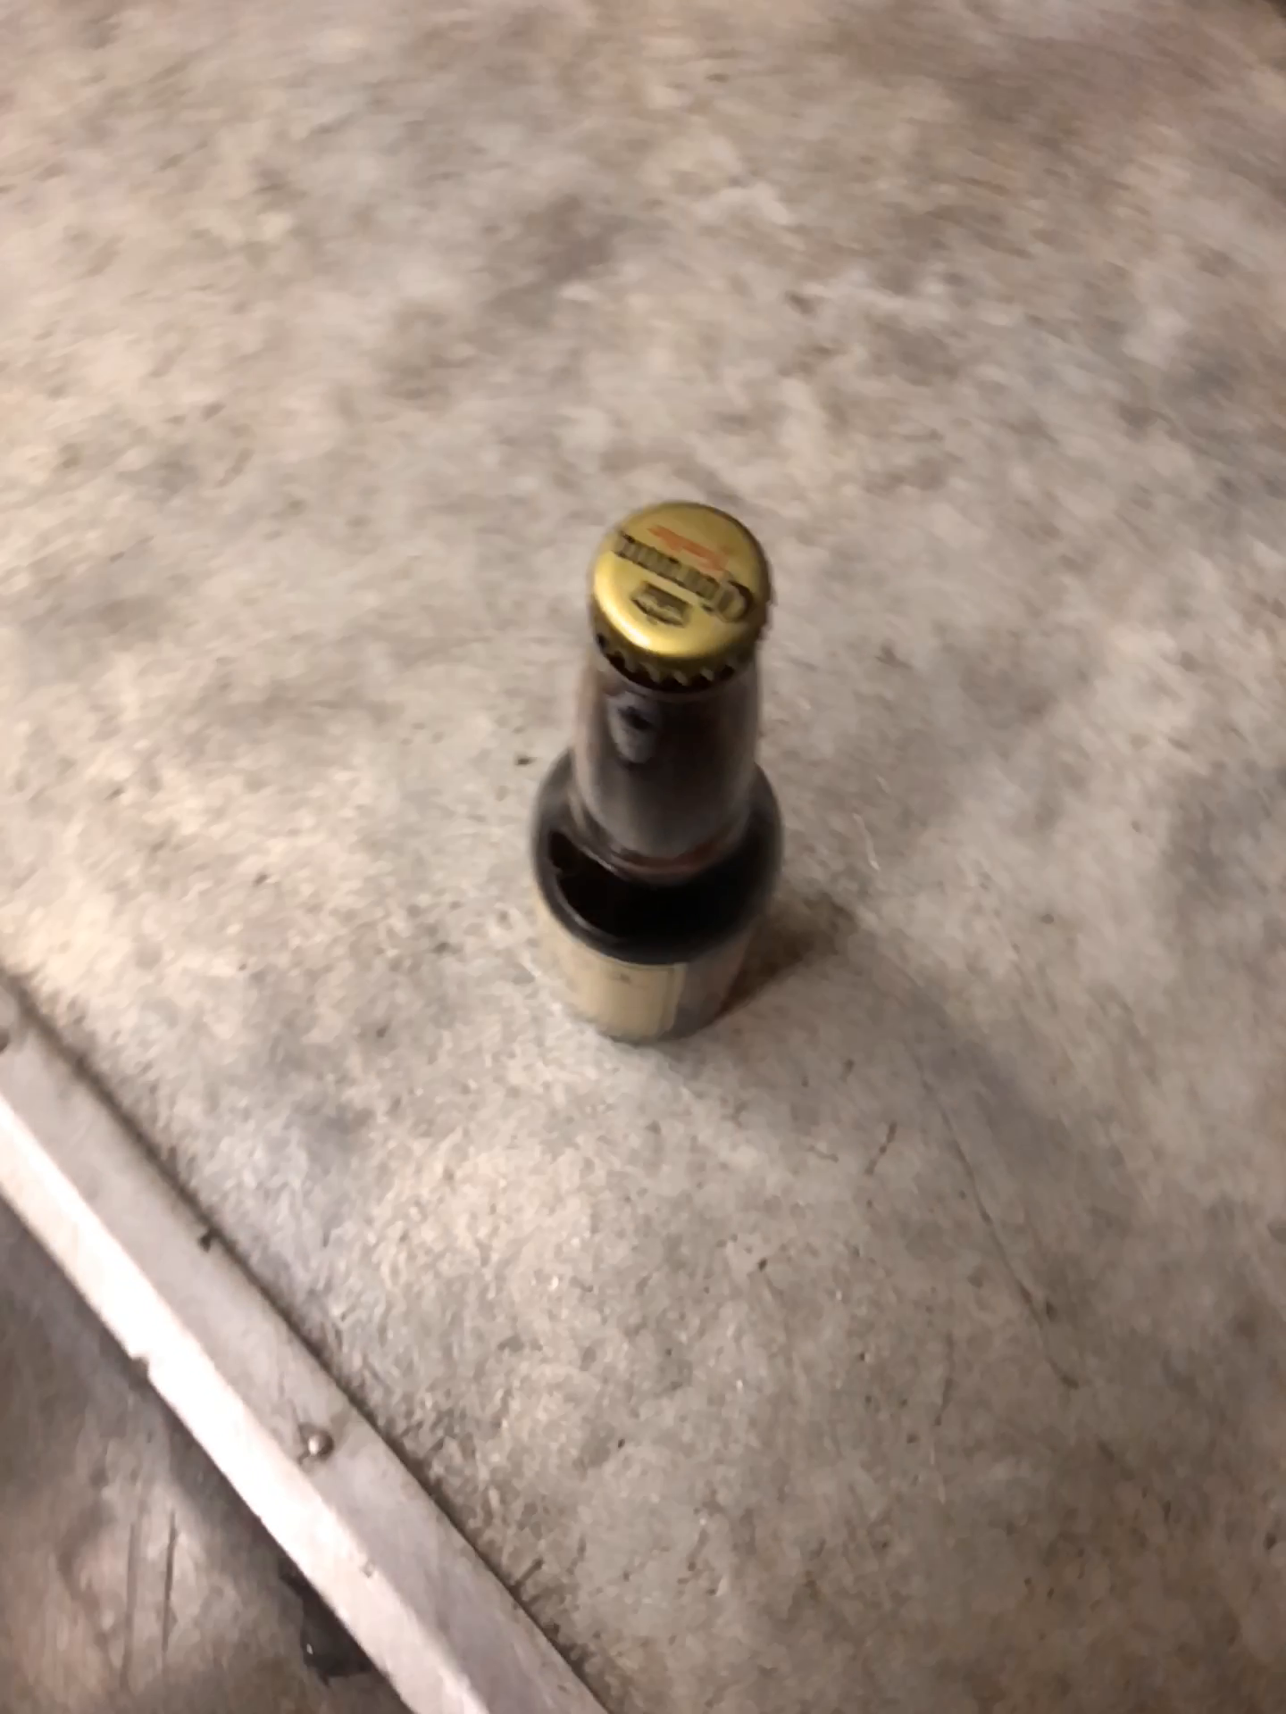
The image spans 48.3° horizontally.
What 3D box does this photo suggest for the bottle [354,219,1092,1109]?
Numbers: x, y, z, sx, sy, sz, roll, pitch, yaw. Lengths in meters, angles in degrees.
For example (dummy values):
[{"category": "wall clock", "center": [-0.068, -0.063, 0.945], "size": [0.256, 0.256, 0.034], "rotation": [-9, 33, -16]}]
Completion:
[{"category": "bottle", "center": [0.008, -0.011, 0.286], "size": [0.070, 0.217, 0.070], "rotation": [0, 73, -1]}]
